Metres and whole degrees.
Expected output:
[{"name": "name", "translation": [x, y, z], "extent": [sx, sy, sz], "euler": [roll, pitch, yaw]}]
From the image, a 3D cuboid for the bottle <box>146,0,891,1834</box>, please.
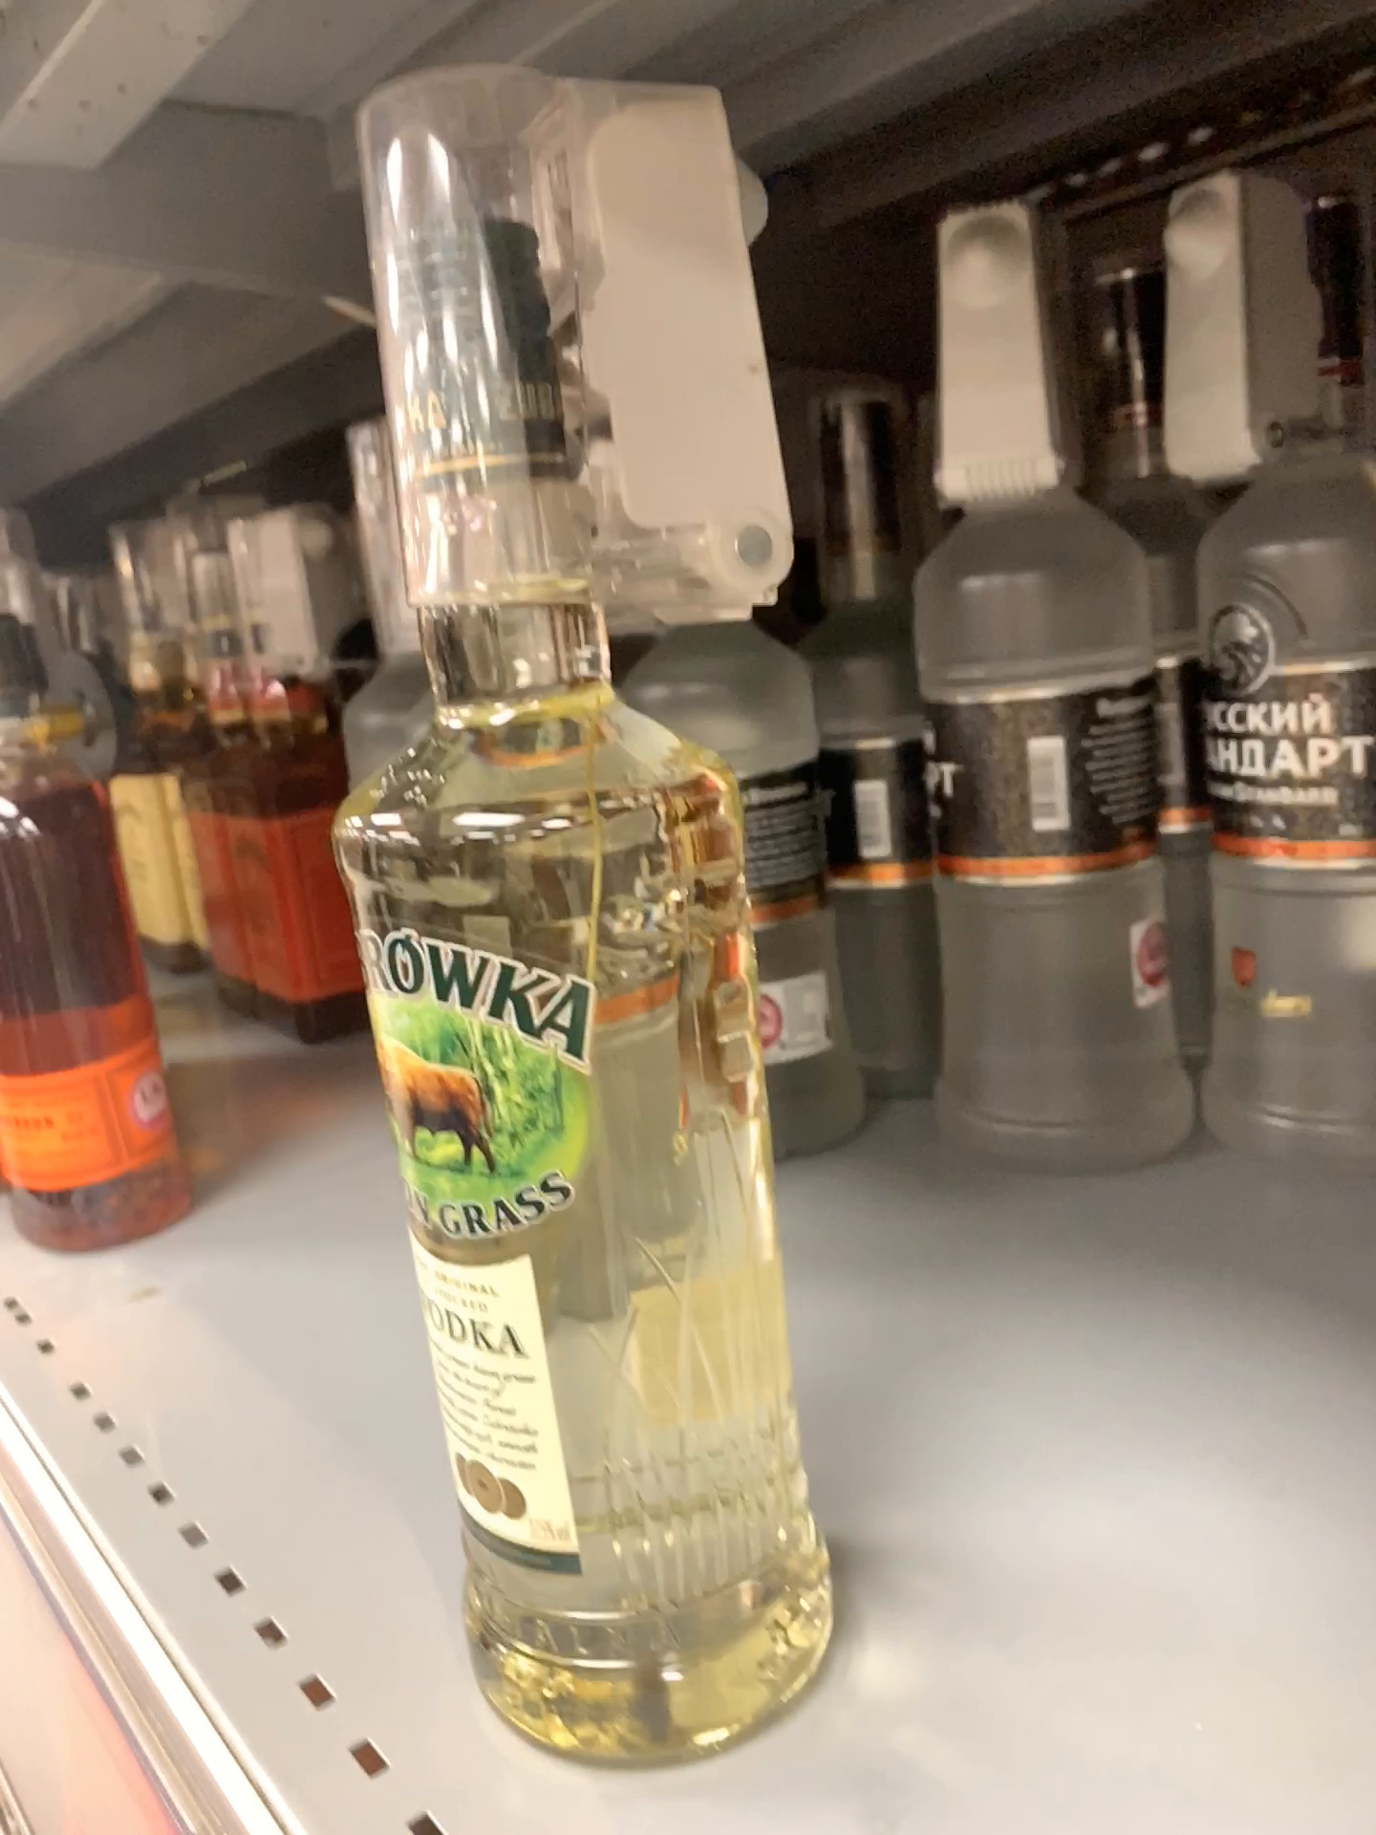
[{"name": "bottle", "translation": [-0.027, 0.002, 0.267], "extent": [0.069, 0.303, 0.076], "euler": [-15, 14, -37]}]
